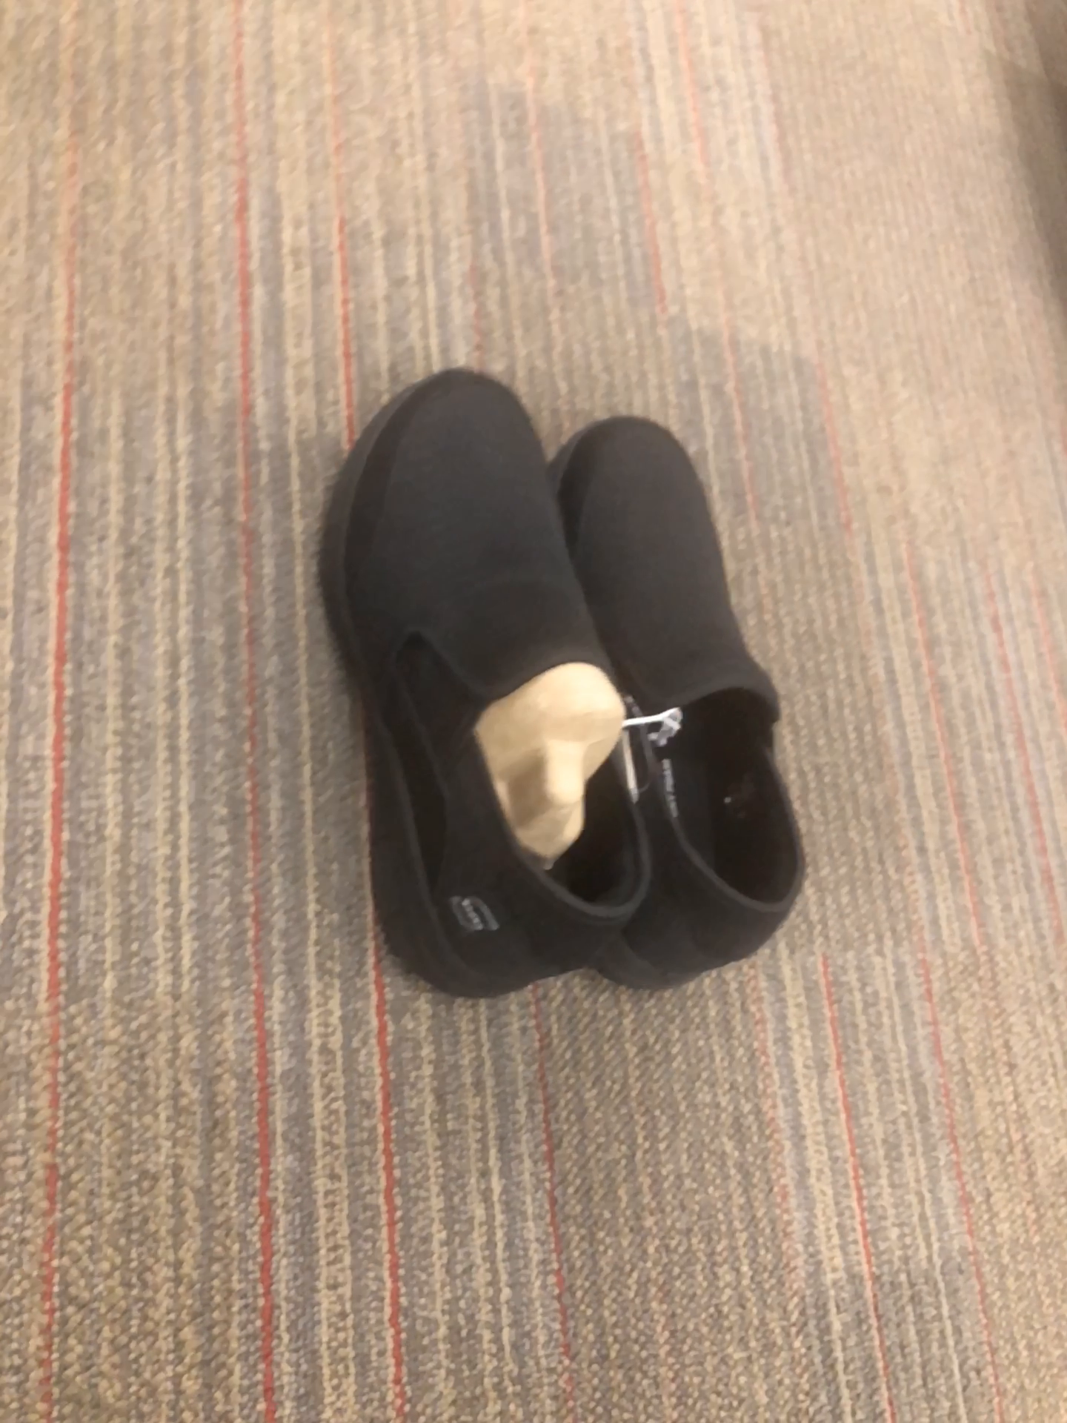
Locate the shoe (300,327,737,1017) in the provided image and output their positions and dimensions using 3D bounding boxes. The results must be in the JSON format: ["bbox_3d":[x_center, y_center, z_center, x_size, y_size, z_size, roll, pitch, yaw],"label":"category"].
[{"bbox_3d":[-0.014,-0.012,0.508,0.117,0.105,0.257,1,73,-32],"label":"shoe"}]

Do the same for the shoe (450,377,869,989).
[{"bbox_3d":[0.051,-0.007,0.553,0.121,0.109,0.247,3,72,-32],"label":"shoe"}]
